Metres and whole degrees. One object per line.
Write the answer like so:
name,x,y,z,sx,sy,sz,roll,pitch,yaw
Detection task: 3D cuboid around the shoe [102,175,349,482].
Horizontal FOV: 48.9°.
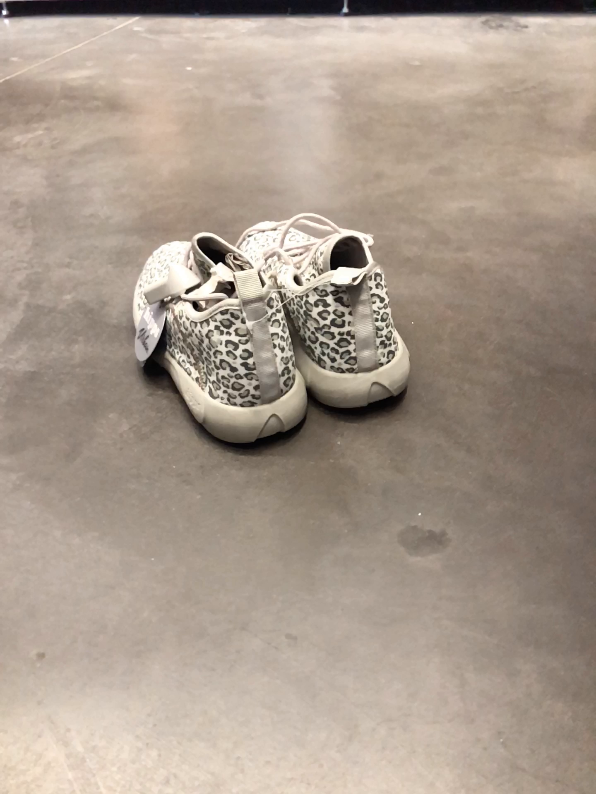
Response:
shoe,-0.063,-0.069,0.489,0.100,0.099,0.251,-16,40,-17

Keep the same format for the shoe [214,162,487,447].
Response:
shoe,0.024,-0.089,0.516,0.100,0.099,0.251,-16,40,-17
